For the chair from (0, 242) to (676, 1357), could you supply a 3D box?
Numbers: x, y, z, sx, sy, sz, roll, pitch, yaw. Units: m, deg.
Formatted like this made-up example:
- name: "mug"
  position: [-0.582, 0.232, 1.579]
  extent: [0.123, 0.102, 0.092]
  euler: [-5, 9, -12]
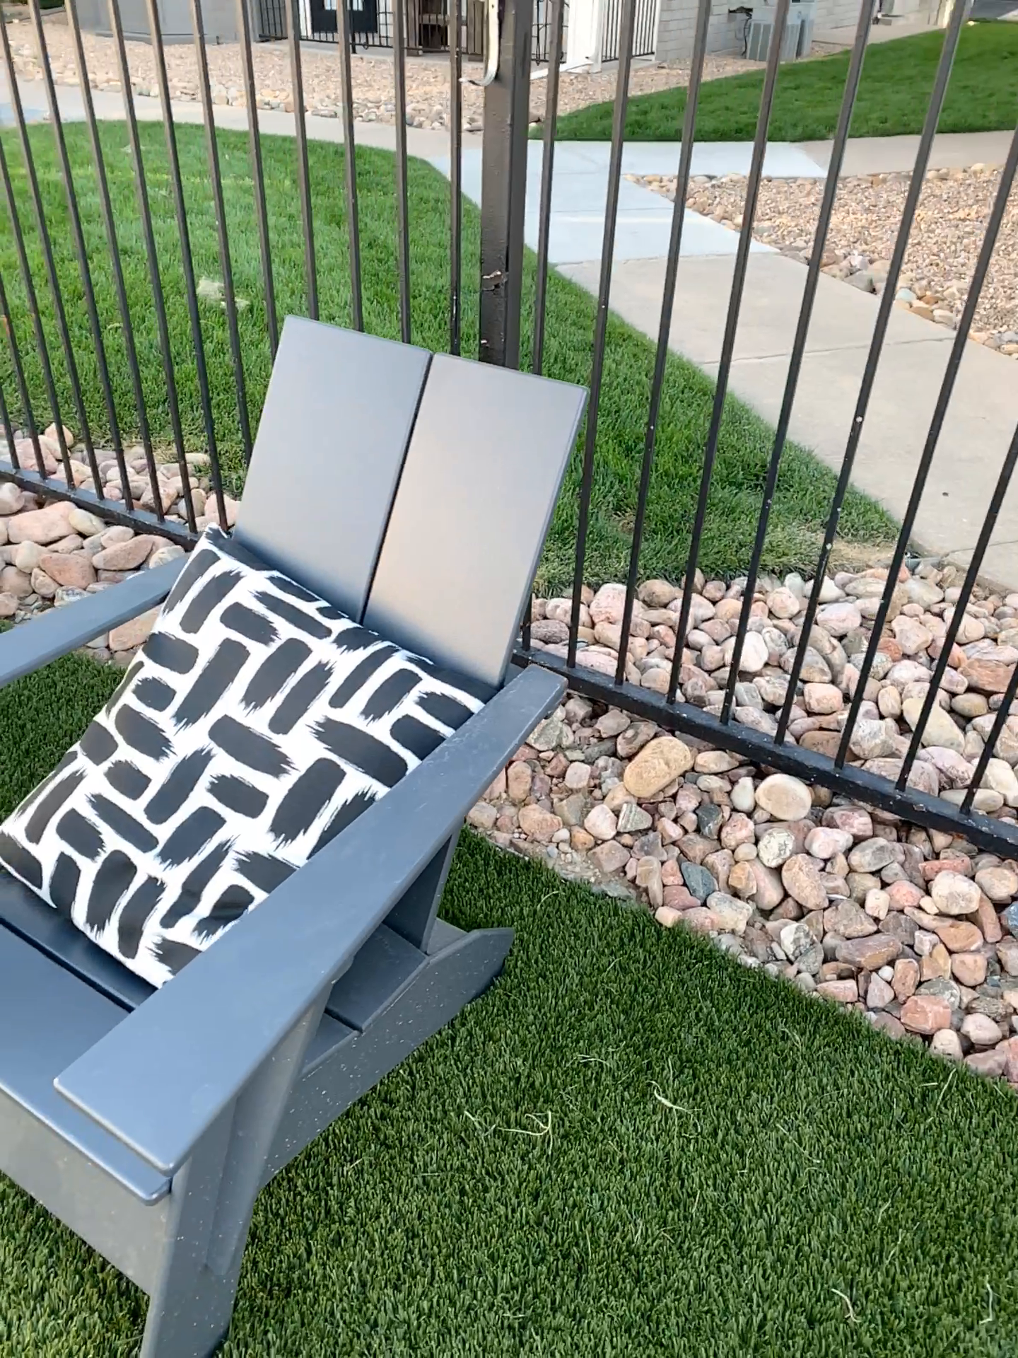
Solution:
- name: "chair"
  position: [-0.343, 0.084, 1.124]
  extent: [0.621, 0.806, 0.883]
  euler: [22, 41, 26]
